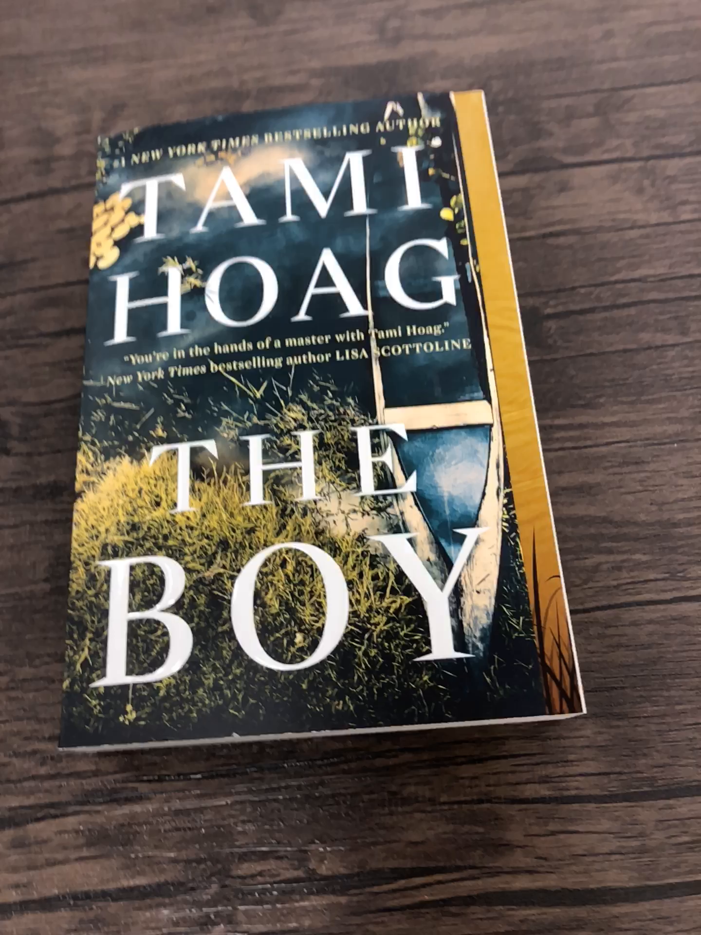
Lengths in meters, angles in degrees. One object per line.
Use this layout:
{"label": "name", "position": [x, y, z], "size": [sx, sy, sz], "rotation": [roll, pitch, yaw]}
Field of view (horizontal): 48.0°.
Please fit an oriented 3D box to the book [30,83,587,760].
{"label": "book", "position": [-0.016, -0.021, 0.245], "size": [0.139, 0.032, 0.202], "rotation": [-6, 68, 5]}
